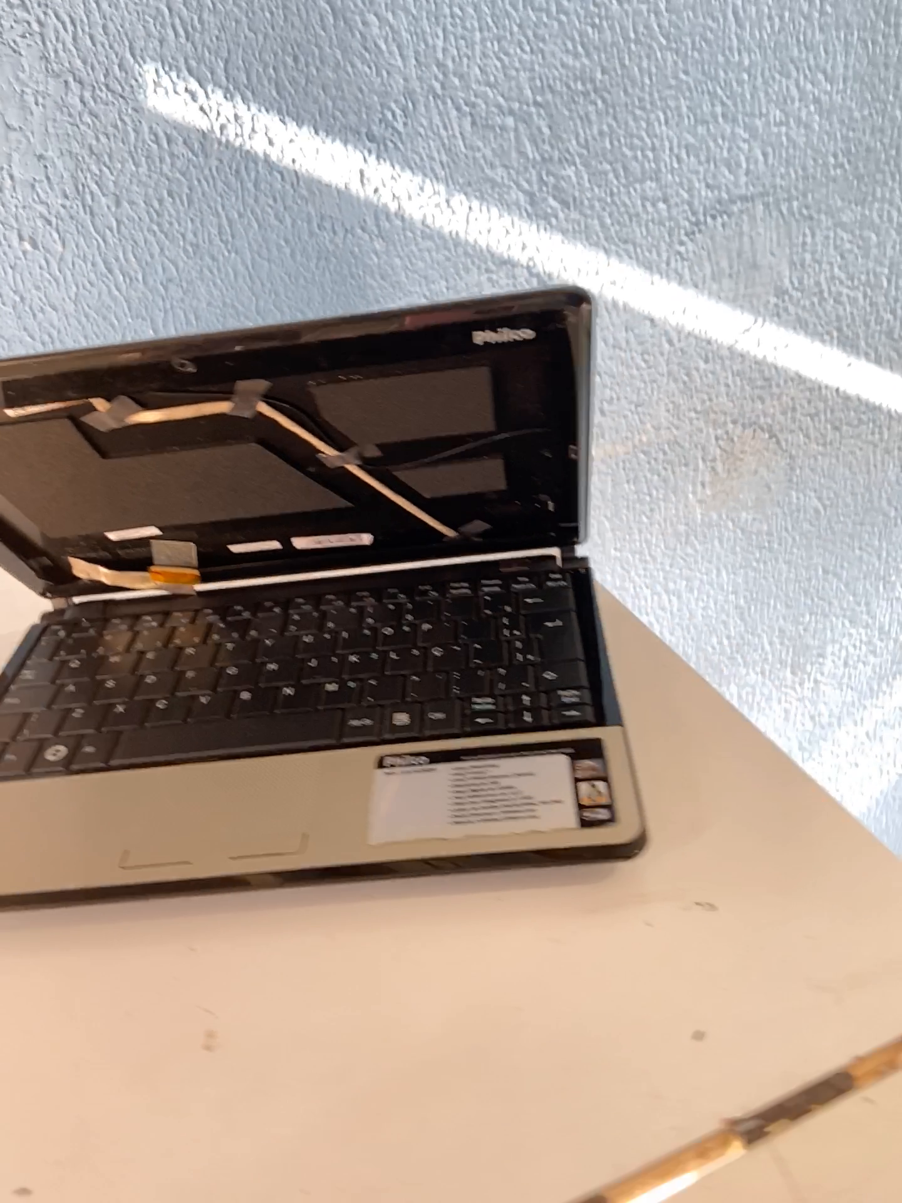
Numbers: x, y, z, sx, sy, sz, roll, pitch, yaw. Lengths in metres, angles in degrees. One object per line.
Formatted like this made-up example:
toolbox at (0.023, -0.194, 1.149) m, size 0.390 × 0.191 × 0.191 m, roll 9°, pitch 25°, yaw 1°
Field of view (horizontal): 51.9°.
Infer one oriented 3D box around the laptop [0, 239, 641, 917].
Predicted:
laptop at (-0.085, -0.017, 0.349) m, size 0.275 × 0.144 × 0.177 m, roll -6°, pitch 33°, yaw 6°
